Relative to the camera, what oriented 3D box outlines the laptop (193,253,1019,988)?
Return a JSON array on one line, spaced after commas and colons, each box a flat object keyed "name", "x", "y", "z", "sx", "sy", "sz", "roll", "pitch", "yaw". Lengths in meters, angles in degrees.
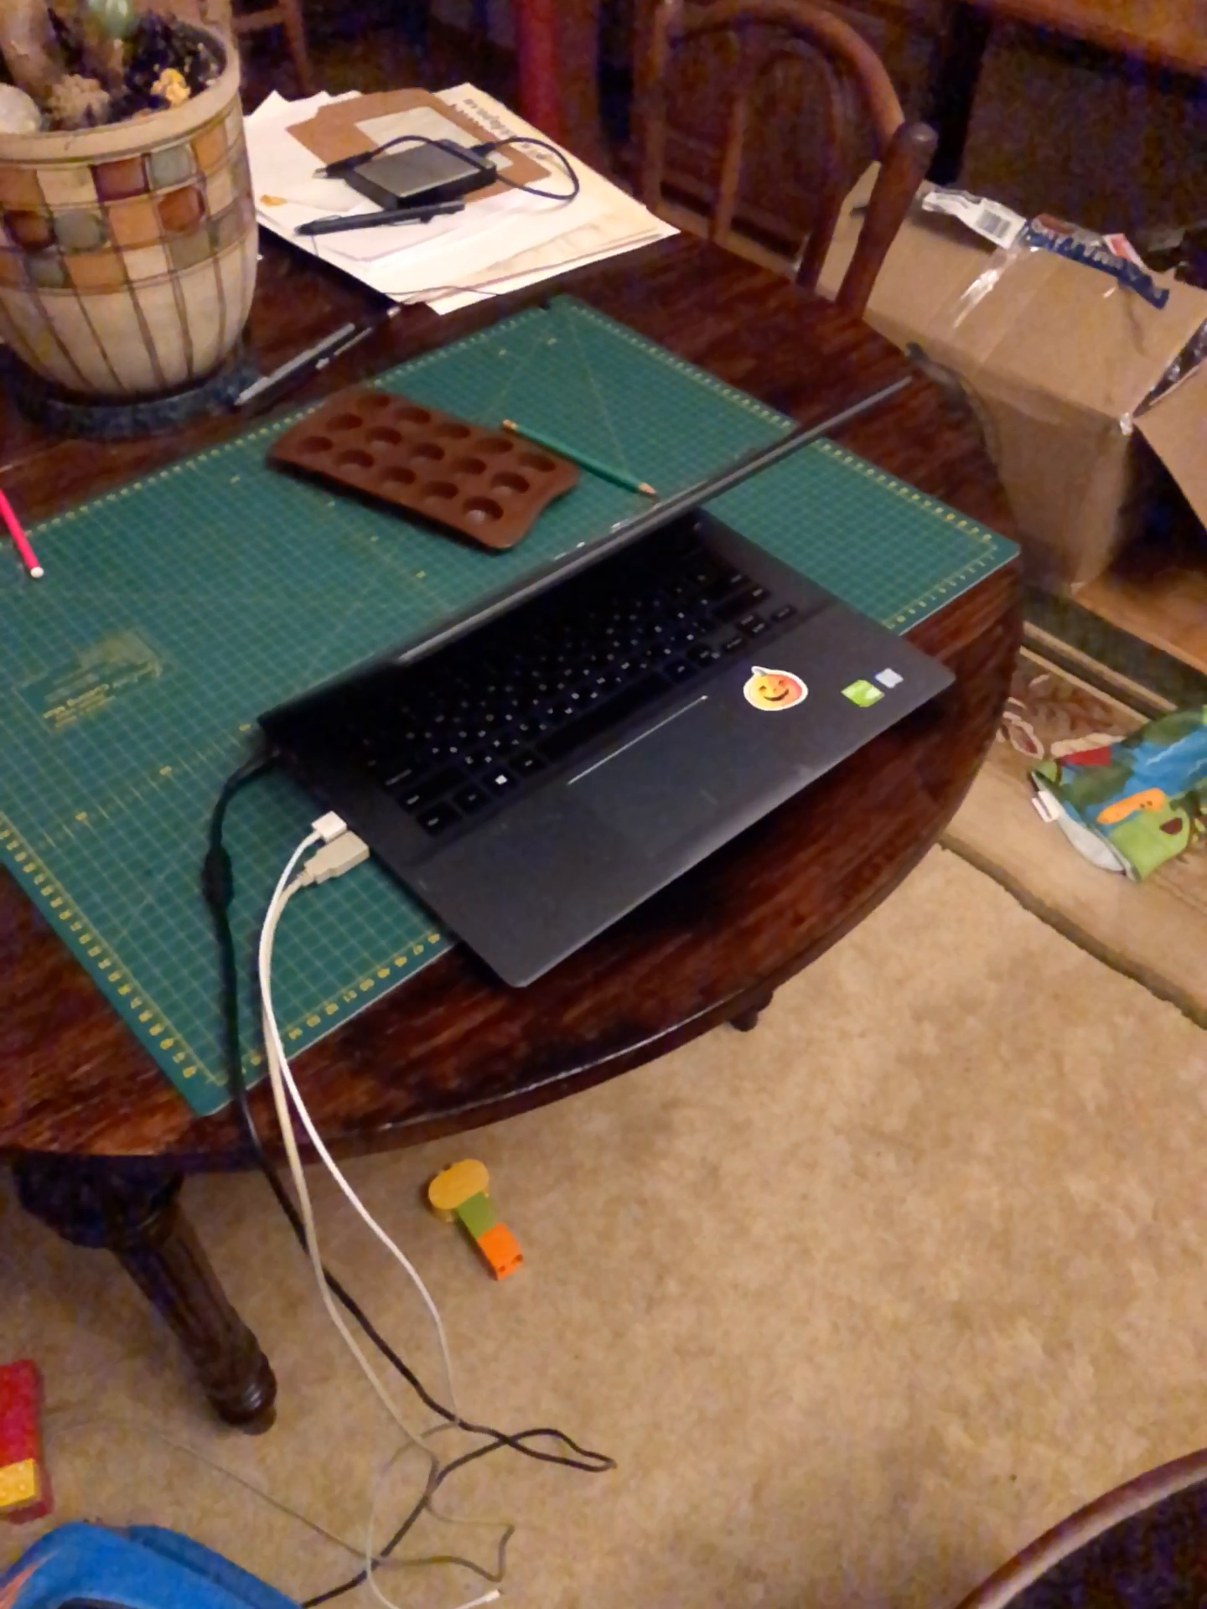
[{"name": "laptop", "x": 0.006, "y": -0.112, "z": 0.677, "sx": 0.318, "sy": 0.162, "sz": 0.224, "roll": -34, "pitch": 57, "yaw": -26}]
